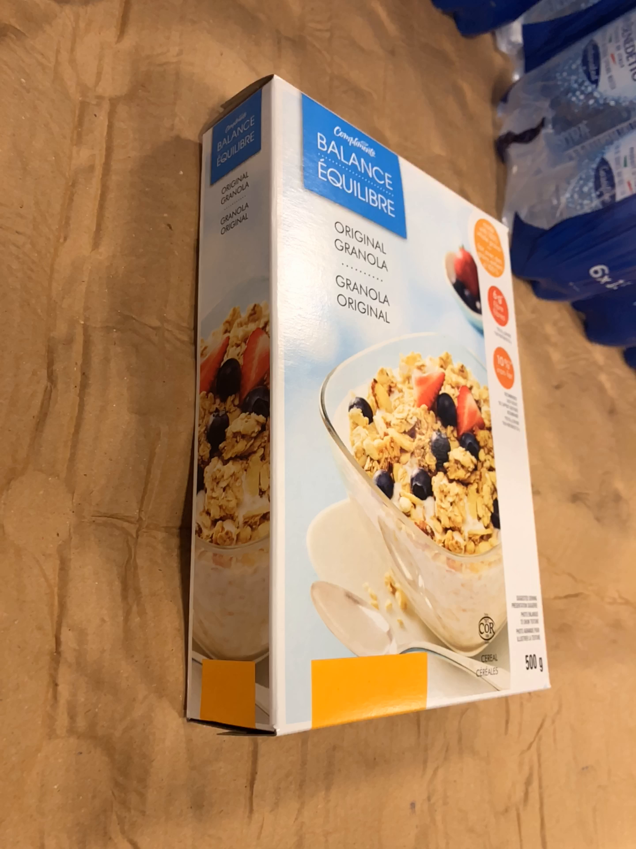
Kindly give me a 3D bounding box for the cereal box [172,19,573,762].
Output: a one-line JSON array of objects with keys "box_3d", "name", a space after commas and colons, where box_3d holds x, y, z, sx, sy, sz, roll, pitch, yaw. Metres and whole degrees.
[{"box_3d": [0.030, -0.008, 0.308, 0.181, 0.050, 0.250, 13, 69, -44], "name": "cereal box"}]
